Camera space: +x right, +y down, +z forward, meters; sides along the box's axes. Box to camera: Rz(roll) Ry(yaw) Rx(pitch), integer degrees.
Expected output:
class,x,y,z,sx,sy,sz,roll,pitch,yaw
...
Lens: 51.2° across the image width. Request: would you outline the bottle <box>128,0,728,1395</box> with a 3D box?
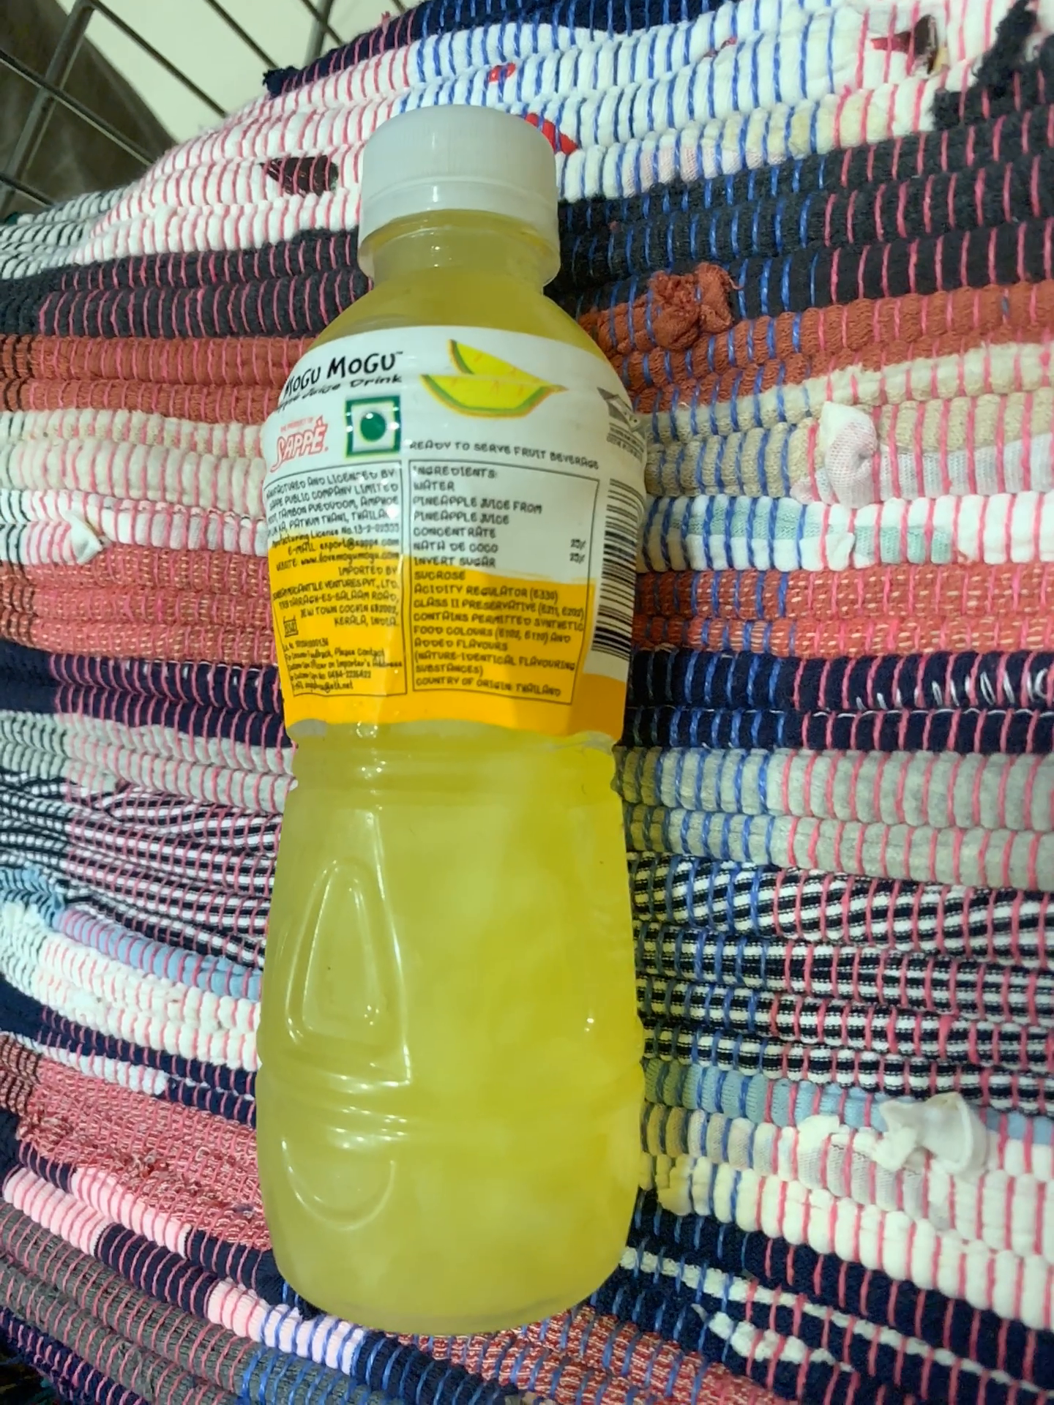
class,x,y,z,sx,sy,sz,roll,pitch,yaw
bottle,-0.010,-0.015,0.168,0.060,0.050,0.190,-1,82,31
